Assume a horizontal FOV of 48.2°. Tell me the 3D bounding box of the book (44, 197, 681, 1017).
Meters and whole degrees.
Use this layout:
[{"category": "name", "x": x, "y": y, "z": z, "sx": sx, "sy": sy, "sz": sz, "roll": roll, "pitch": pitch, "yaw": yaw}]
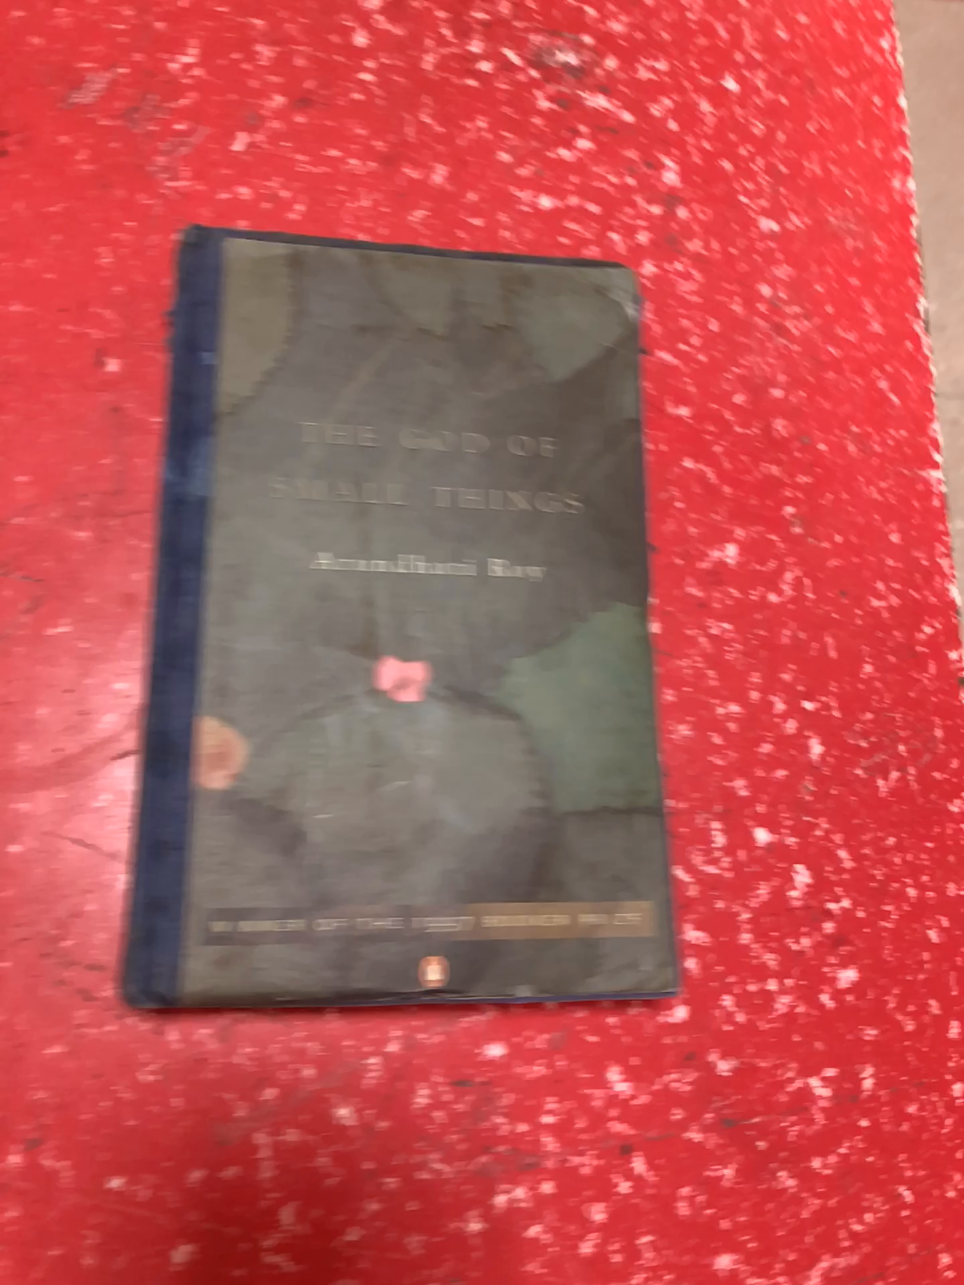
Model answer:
[{"category": "book", "x": -0.029, "y": -0.013, "z": 0.304, "sx": 0.150, "sy": 0.040, "sz": 0.220, "roll": 2, "pitch": 74, "yaw": -8}]
